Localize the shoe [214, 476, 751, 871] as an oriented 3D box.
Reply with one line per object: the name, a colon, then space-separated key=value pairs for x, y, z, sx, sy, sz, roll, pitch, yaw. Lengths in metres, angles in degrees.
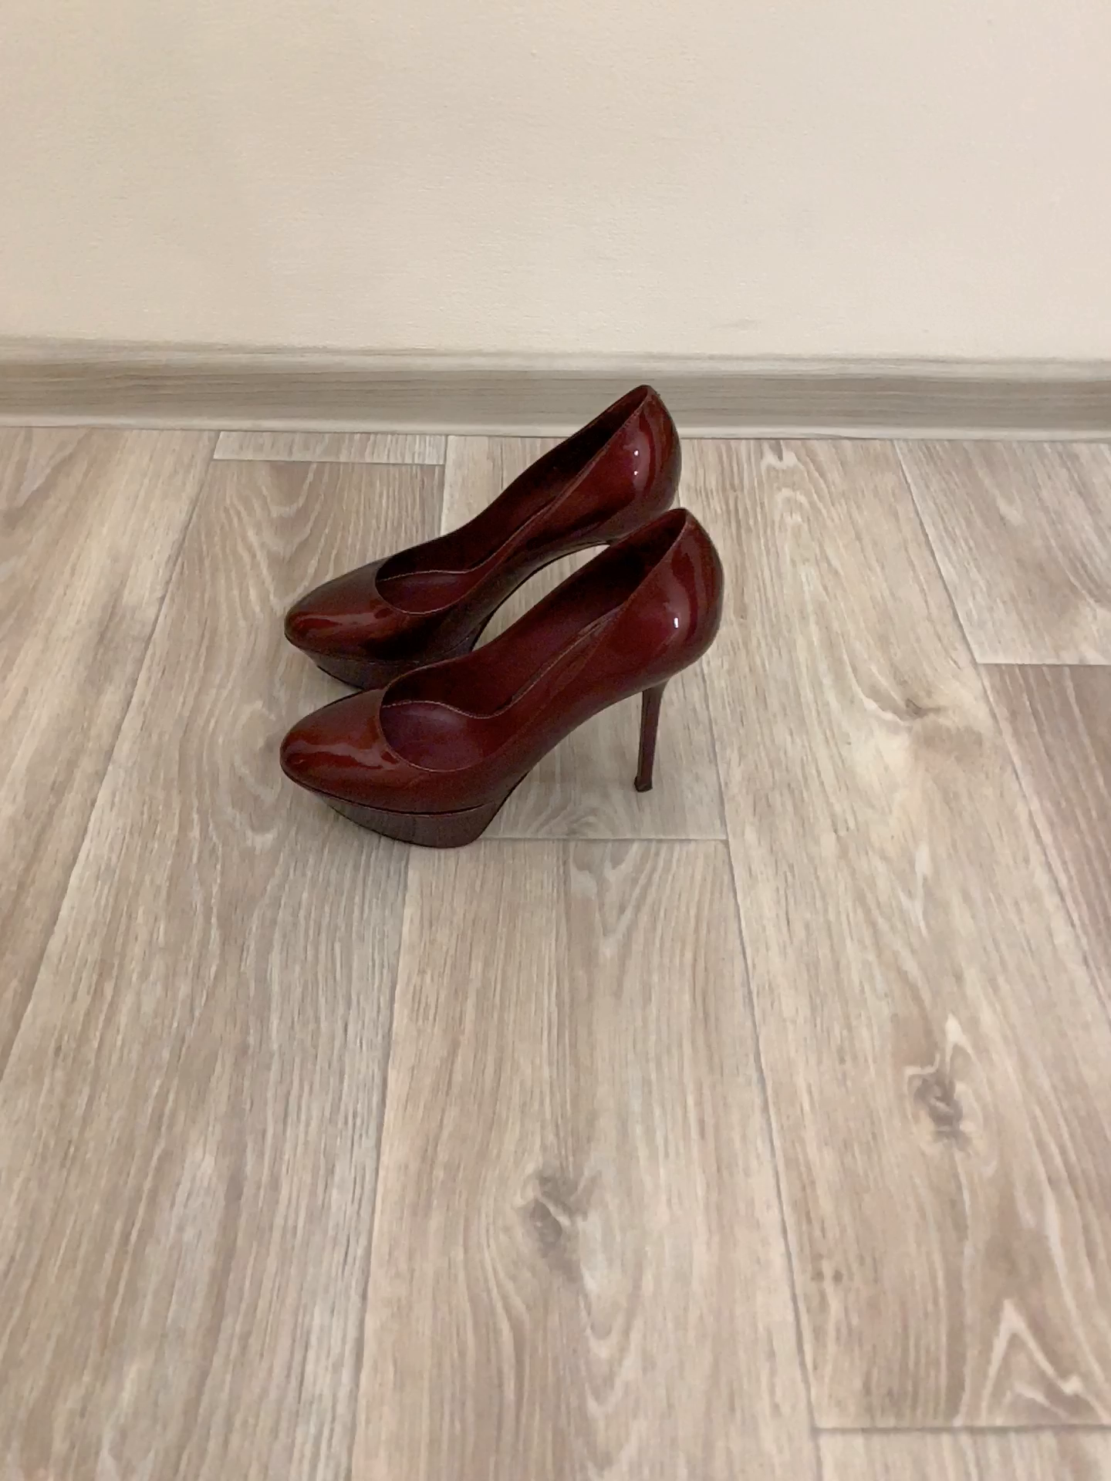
shoe: x=-0.034 y=-0.029 z=0.527 sx=0.210 sy=0.149 sz=0.087 roll=-4 pitch=47 yaw=-7

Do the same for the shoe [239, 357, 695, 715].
shoe: x=-0.048 y=-0.107 z=0.604 sx=0.210 sy=0.149 sz=0.087 roll=-6 pitch=47 yaw=-9
